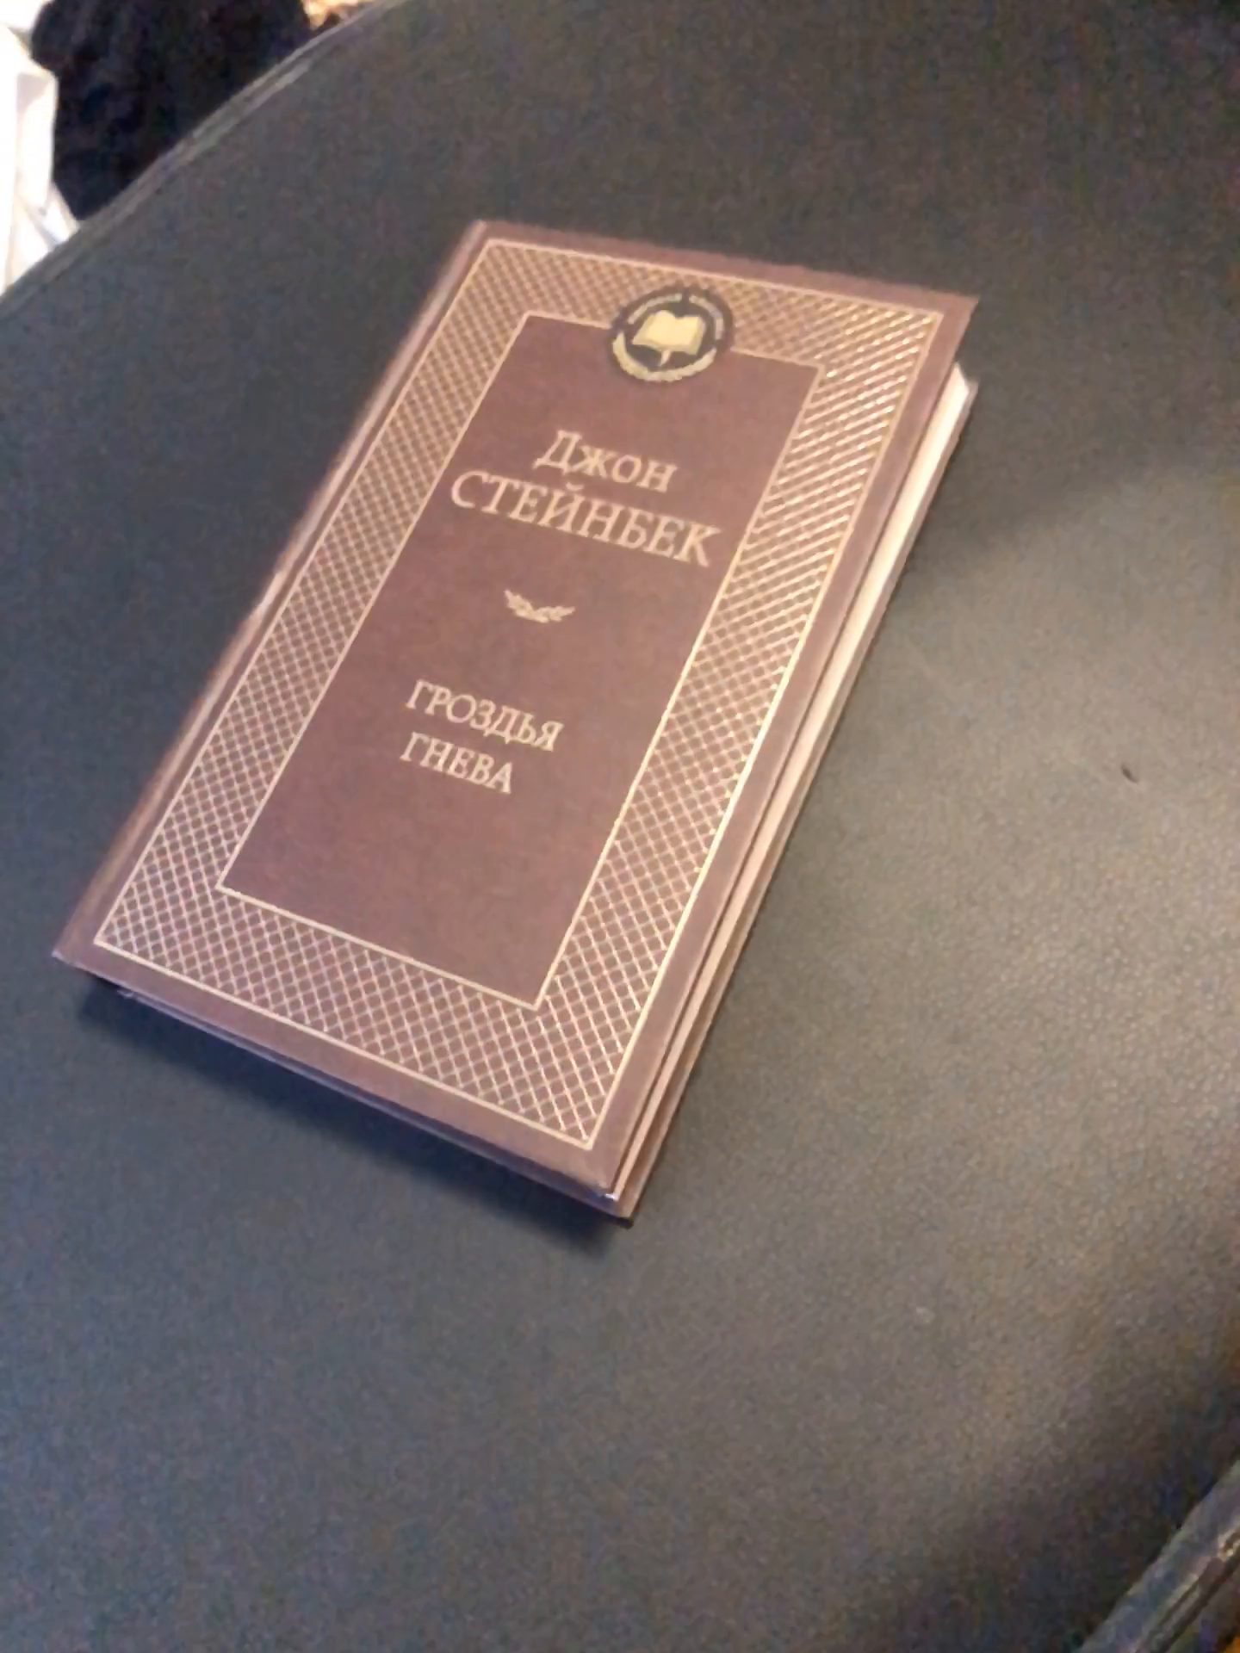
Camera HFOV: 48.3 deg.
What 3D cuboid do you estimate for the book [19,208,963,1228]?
[{"bbox_3d":[-0.021,-0.036,0.302,0.130,0.040,0.200,18,73,21],"label":"book"}]
